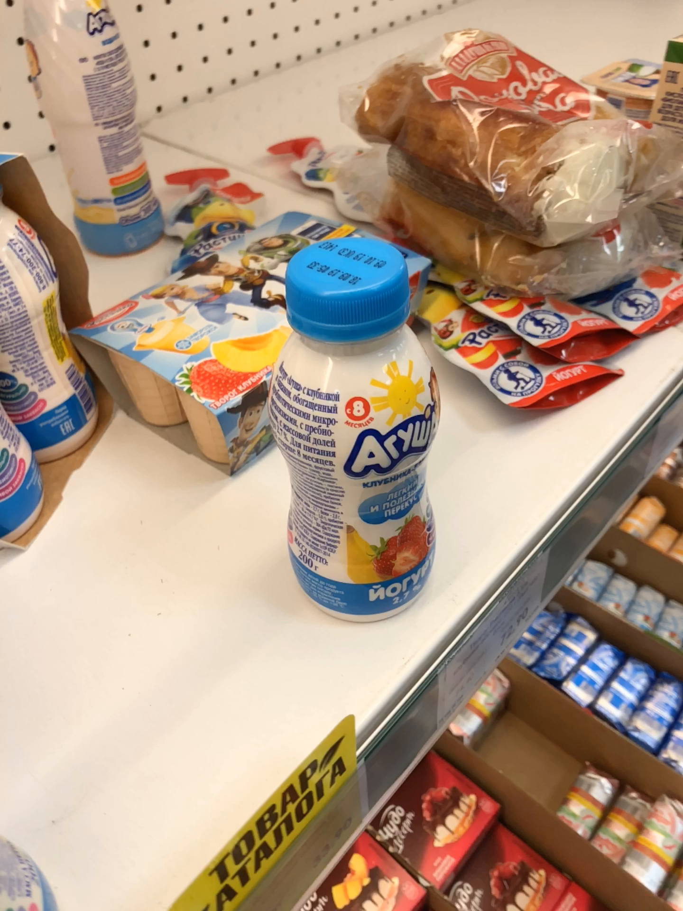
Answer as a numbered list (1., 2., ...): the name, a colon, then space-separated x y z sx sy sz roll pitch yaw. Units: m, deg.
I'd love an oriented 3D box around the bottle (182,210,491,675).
1. bottle: 0.001 0.000 0.251 0.060 0.129 0.060 -2 42 2
